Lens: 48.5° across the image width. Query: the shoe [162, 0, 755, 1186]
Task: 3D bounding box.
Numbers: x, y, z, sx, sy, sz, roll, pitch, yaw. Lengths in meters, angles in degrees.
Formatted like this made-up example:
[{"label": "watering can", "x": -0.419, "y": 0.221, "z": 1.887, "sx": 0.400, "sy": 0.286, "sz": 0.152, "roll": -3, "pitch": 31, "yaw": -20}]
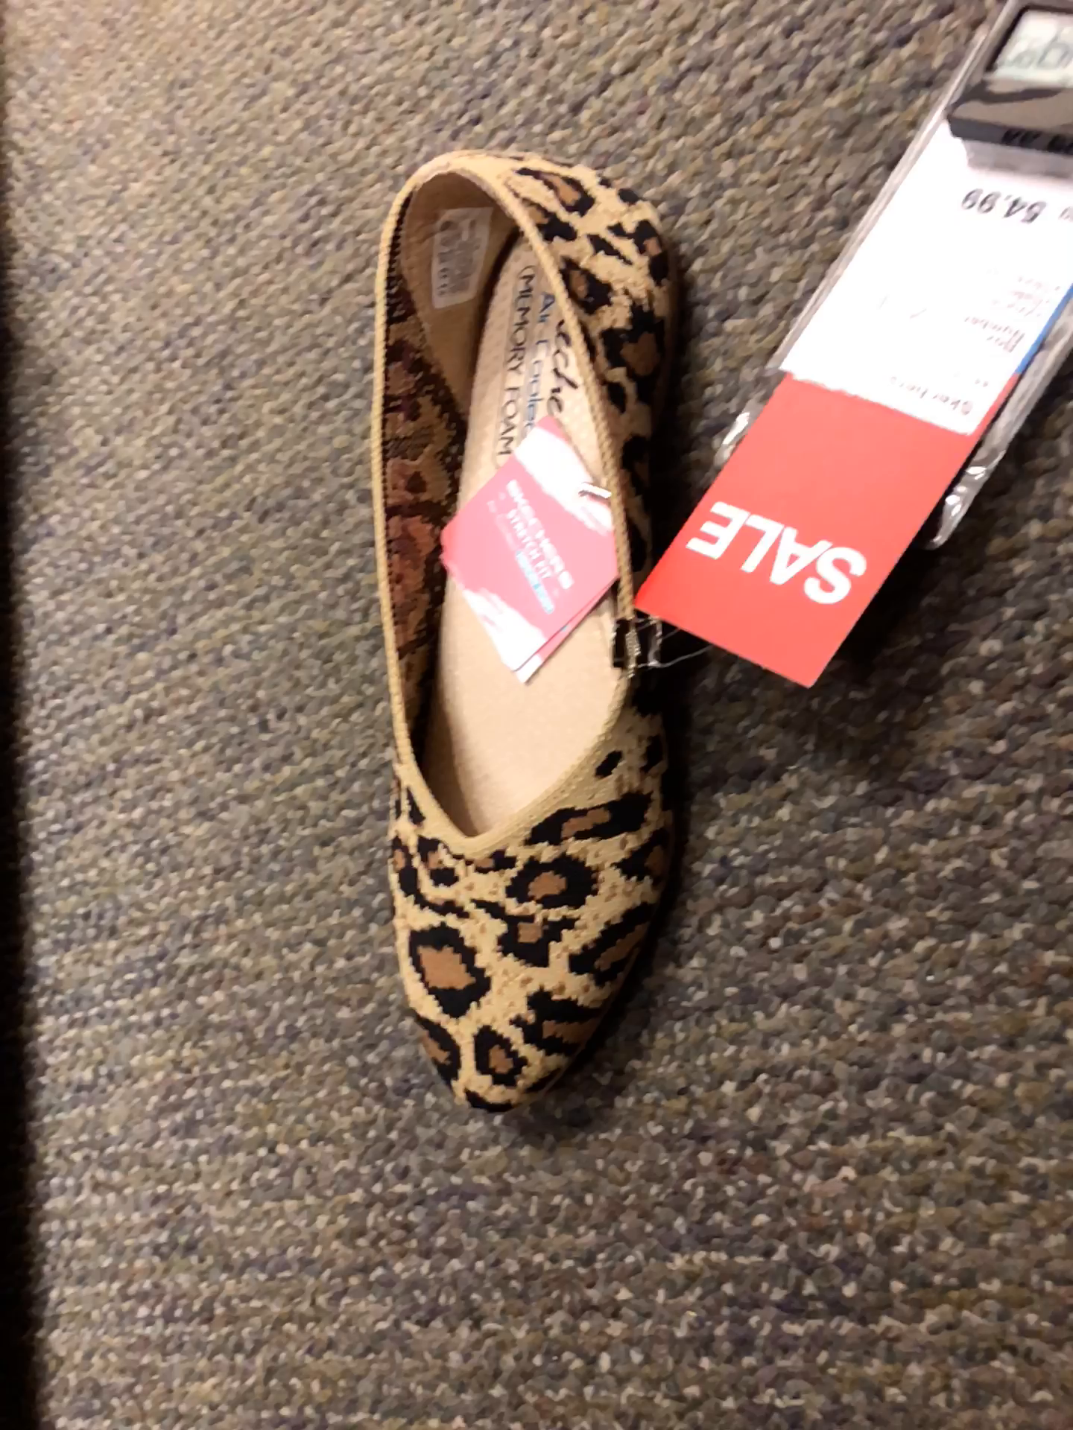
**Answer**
[{"label": "shoe", "x": -0.016, "y": -0.028, "z": 0.308, "sx": 0.105, "sy": 0.085, "sz": 0.253, "roll": -2, "pitch": 81, "yaw": 39}]
